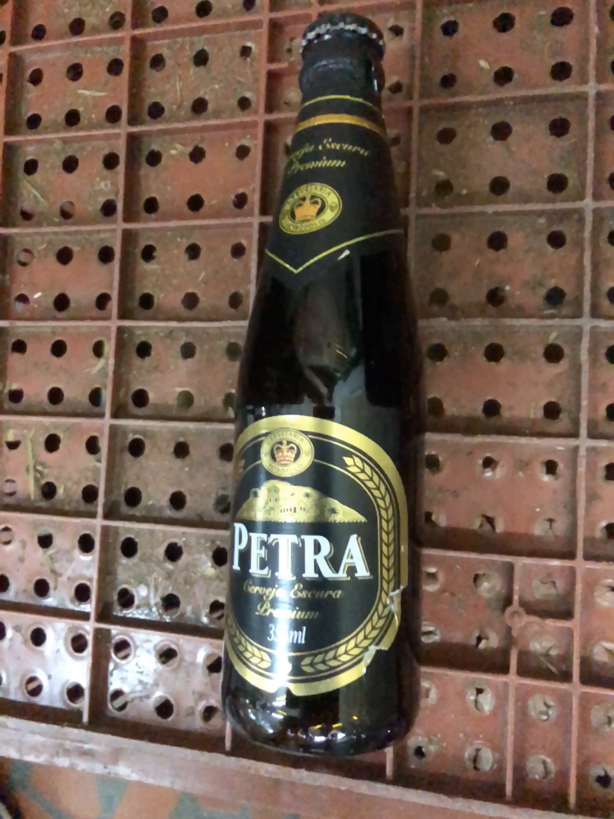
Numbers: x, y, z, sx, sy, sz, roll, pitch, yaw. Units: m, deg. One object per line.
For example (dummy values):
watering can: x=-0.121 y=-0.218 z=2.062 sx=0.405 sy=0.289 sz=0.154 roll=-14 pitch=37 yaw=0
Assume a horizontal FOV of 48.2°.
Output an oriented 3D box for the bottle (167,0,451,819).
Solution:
bottle: x=0.007 y=-0.018 z=0.213 sx=0.070 sy=0.060 sz=0.250 roll=0 pitch=85 yaw=15
